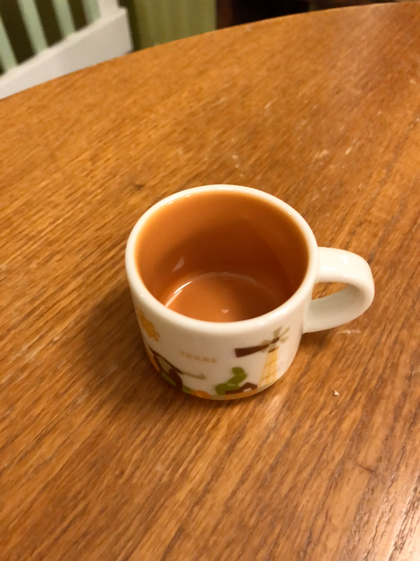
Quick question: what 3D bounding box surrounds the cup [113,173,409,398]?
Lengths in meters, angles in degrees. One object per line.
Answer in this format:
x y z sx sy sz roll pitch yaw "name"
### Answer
0.014 0.002 0.166 0.080 0.049 0.060 -1 51 1 "cup"
